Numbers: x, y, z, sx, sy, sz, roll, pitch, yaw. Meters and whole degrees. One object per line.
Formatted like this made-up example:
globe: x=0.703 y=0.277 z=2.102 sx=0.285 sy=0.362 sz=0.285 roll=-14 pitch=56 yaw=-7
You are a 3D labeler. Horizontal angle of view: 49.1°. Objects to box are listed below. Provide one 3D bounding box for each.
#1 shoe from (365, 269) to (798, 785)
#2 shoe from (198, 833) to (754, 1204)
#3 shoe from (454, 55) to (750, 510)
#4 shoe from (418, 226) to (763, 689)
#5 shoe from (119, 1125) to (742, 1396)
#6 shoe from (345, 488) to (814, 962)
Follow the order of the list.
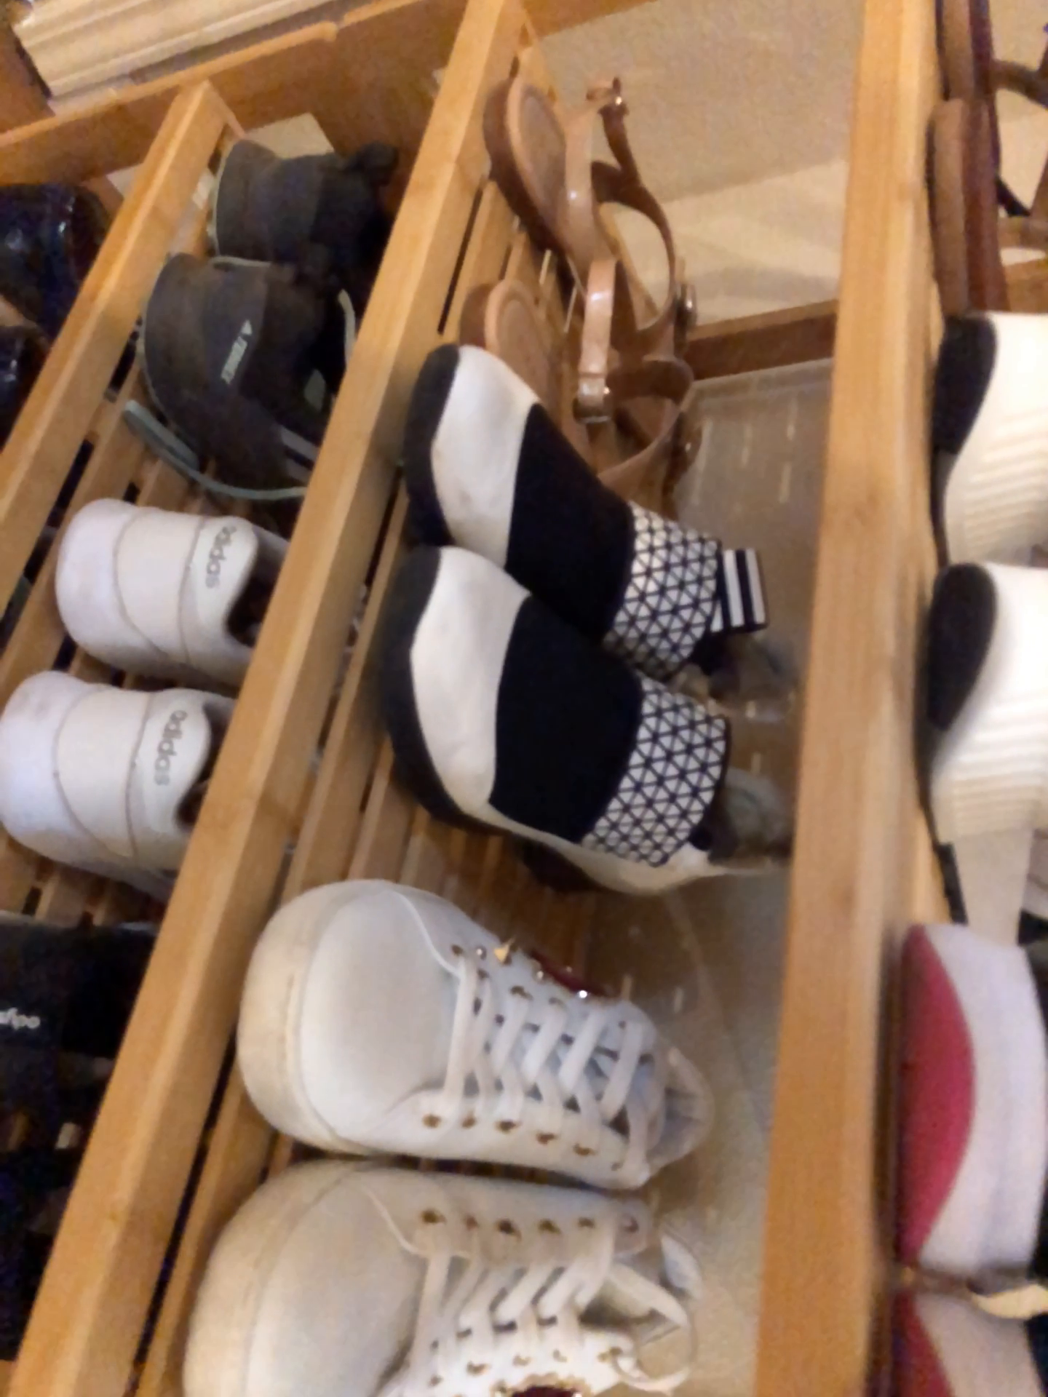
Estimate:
shoe: x=0.044 y=-0.060 z=0.535 sx=0.264 sy=0.068 sz=0.086 roll=44 pitch=48 yaw=-44
shoe: x=0.004 y=0.136 z=0.448 sx=0.257 sy=0.068 sz=0.092 roll=35 pitch=56 yaw=-48
shoe: x=0.062 y=-0.239 z=0.712 sx=0.264 sy=0.074 sz=0.092 roll=48 pitch=46 yaw=-49
shoe: x=0.053 y=-0.115 z=0.641 sx=0.264 sy=0.081 sz=0.099 roll=48 pitch=46 yaw=-49
shoe: x=-0.008 y=0.213 z=0.399 sx=0.244 sy=0.068 sz=0.092 roll=35 pitch=56 yaw=-48
shoe: x=0.047 y=0.033 z=0.513 sx=0.282 sy=0.076 sz=0.096 roll=41 pitch=51 yaw=-49
